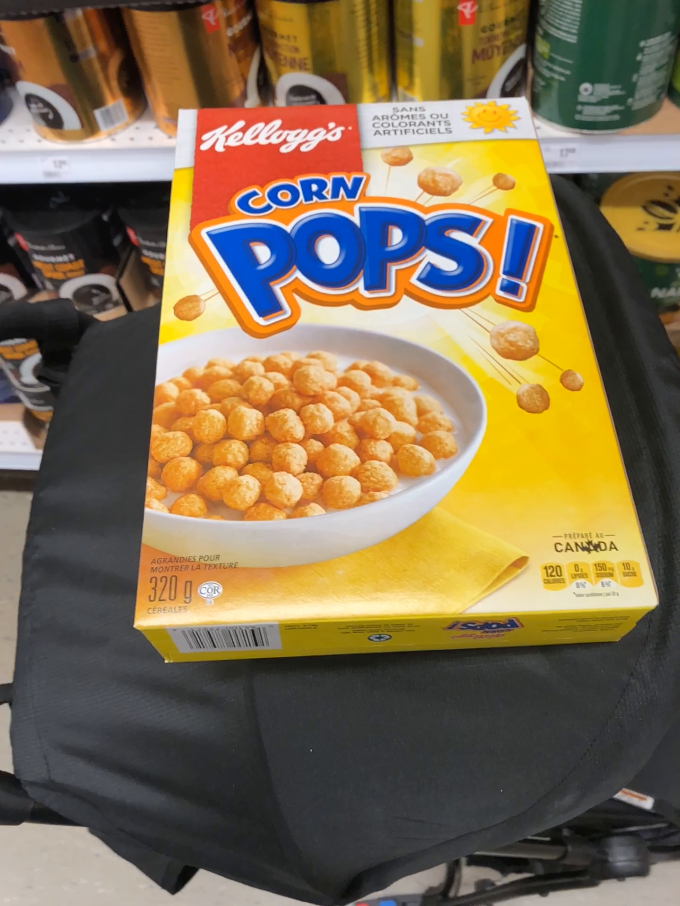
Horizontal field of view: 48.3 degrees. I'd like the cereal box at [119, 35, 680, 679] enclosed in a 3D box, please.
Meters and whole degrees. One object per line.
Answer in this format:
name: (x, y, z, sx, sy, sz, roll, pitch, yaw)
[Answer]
cereal box: (0.017, -0.067, 0.363, 0.200, 0.060, 0.321, -3, 61, 1)
